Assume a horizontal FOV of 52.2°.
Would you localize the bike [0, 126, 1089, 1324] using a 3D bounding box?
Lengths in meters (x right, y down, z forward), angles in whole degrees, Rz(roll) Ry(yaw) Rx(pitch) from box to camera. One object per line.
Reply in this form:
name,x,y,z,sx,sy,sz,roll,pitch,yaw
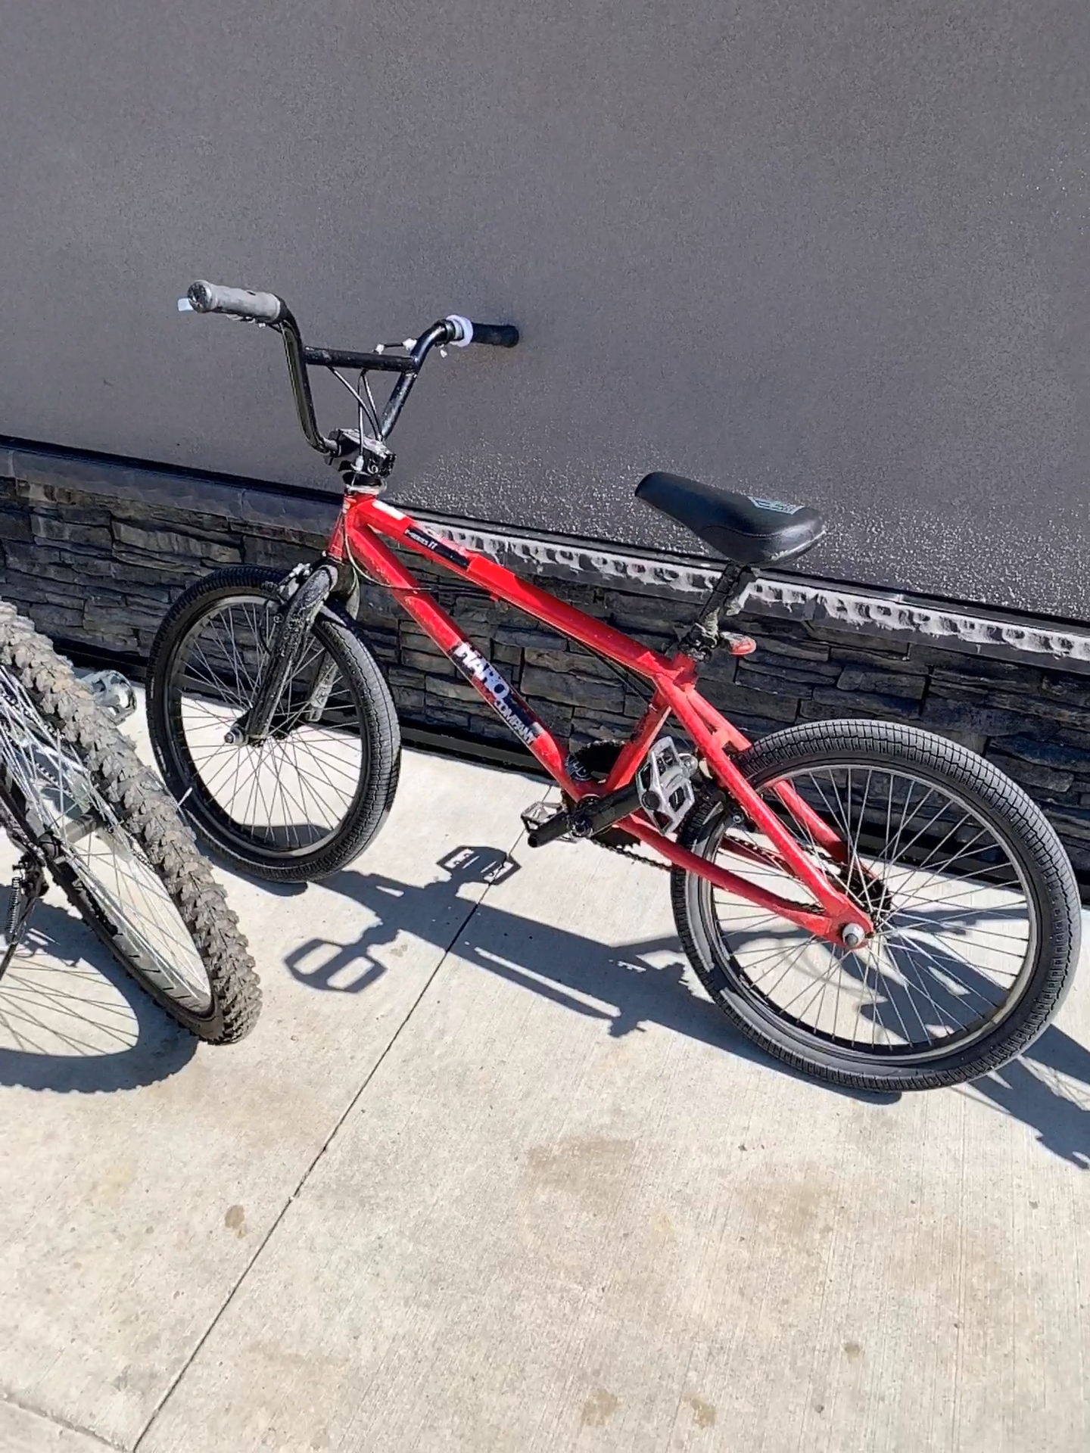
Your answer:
bike,0.071,-0.154,1.459,1.311,0.908,0.777,19,33,18
